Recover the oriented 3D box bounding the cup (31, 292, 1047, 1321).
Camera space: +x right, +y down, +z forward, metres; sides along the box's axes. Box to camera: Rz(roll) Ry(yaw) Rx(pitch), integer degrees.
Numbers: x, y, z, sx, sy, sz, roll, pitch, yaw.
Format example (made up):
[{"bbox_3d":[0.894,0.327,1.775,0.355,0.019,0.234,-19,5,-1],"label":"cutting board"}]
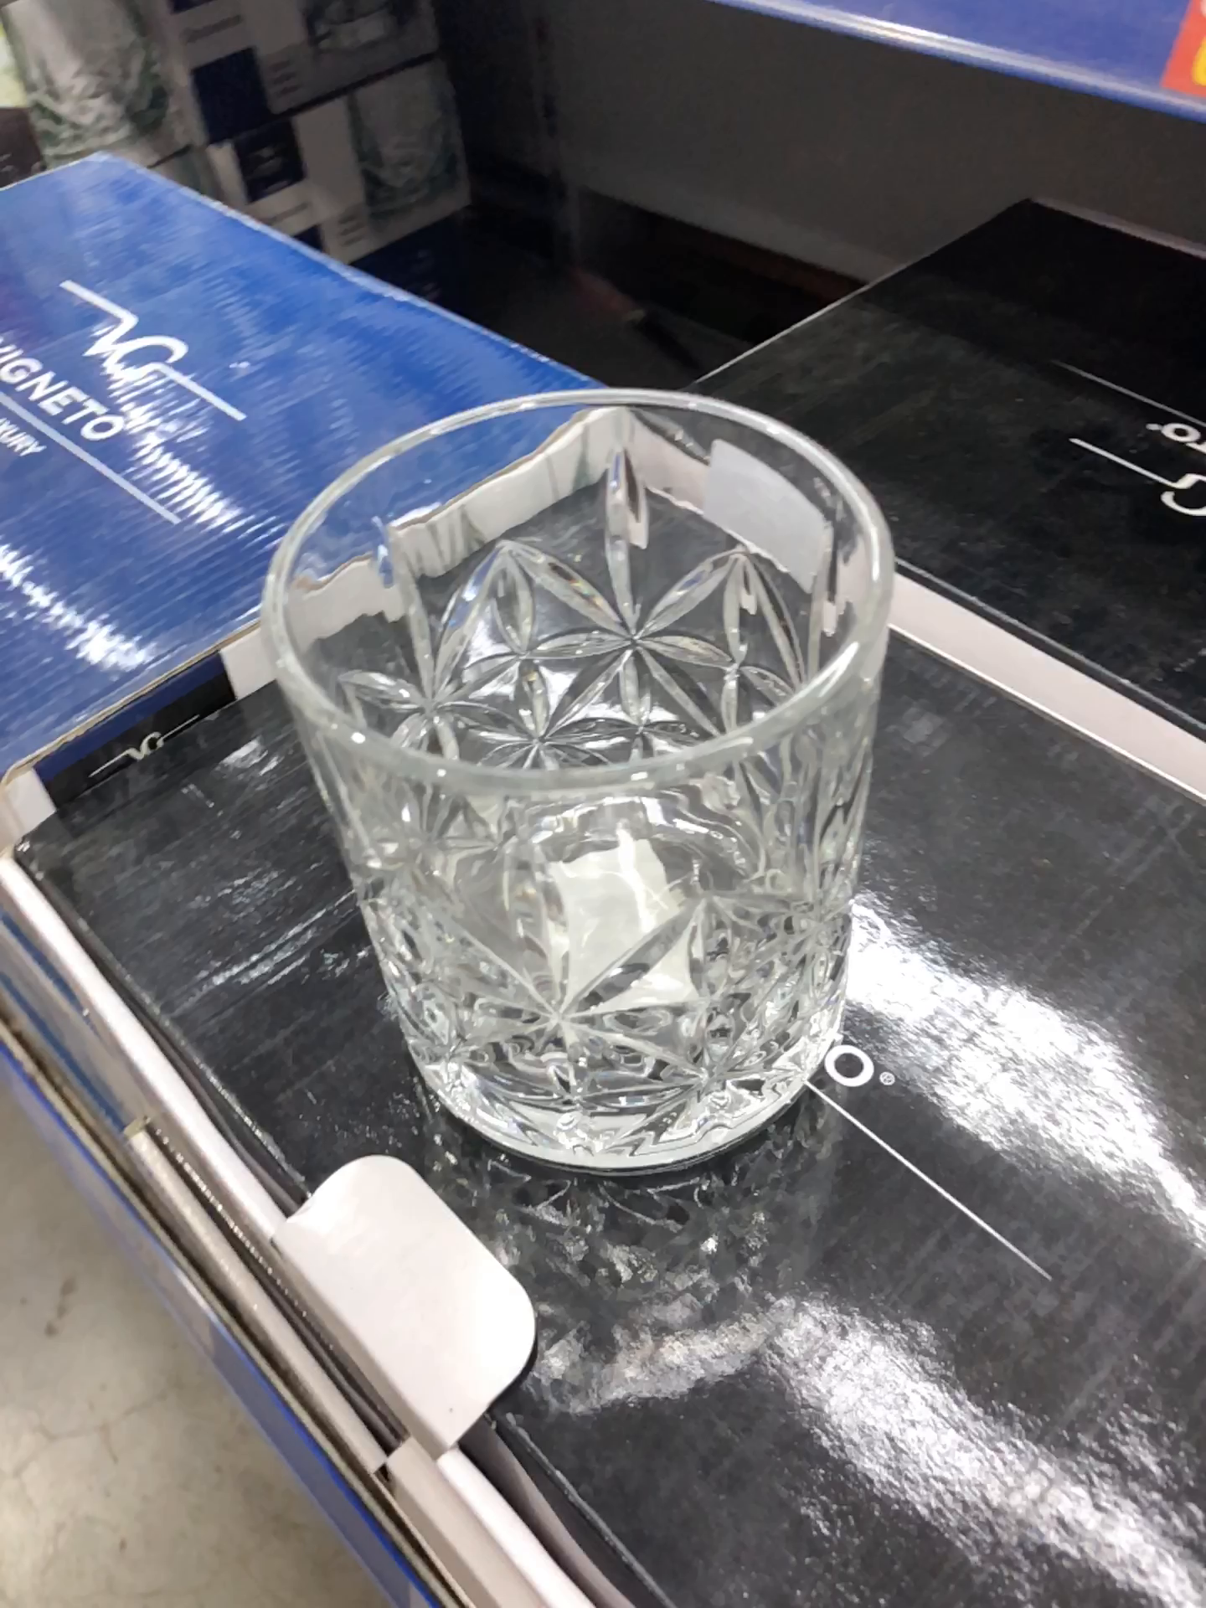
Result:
[{"bbox_3d":[-0.003,-0.004,0.221,0.100,0.100,0.100,-3,47,3],"label":"cup"}]
